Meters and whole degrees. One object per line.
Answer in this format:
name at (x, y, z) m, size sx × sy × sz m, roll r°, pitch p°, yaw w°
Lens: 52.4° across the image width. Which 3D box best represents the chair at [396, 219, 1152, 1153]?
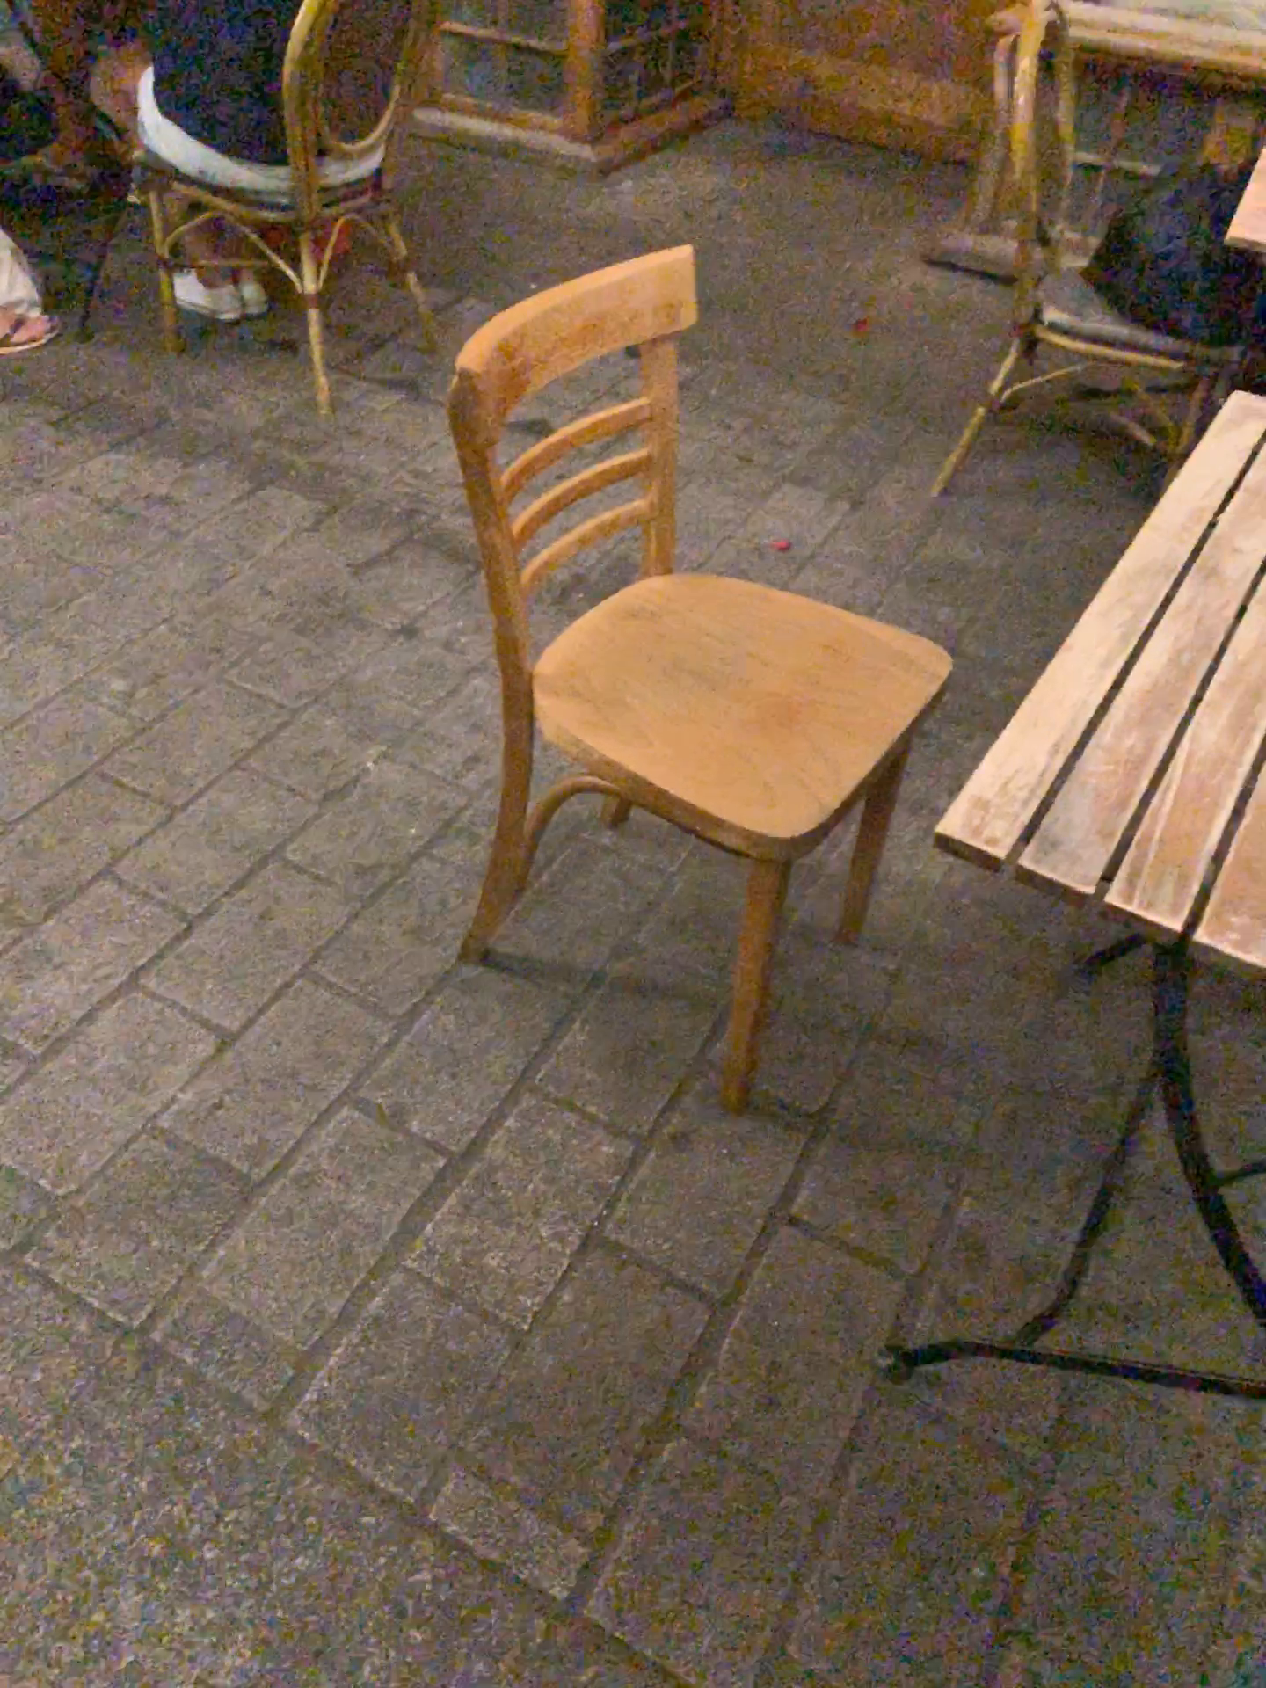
chair at (0.127, -0.183, 1.457) m, size 0.541 × 0.763 × 0.514 m, roll 25°, pitch 45°, yaw 20°
